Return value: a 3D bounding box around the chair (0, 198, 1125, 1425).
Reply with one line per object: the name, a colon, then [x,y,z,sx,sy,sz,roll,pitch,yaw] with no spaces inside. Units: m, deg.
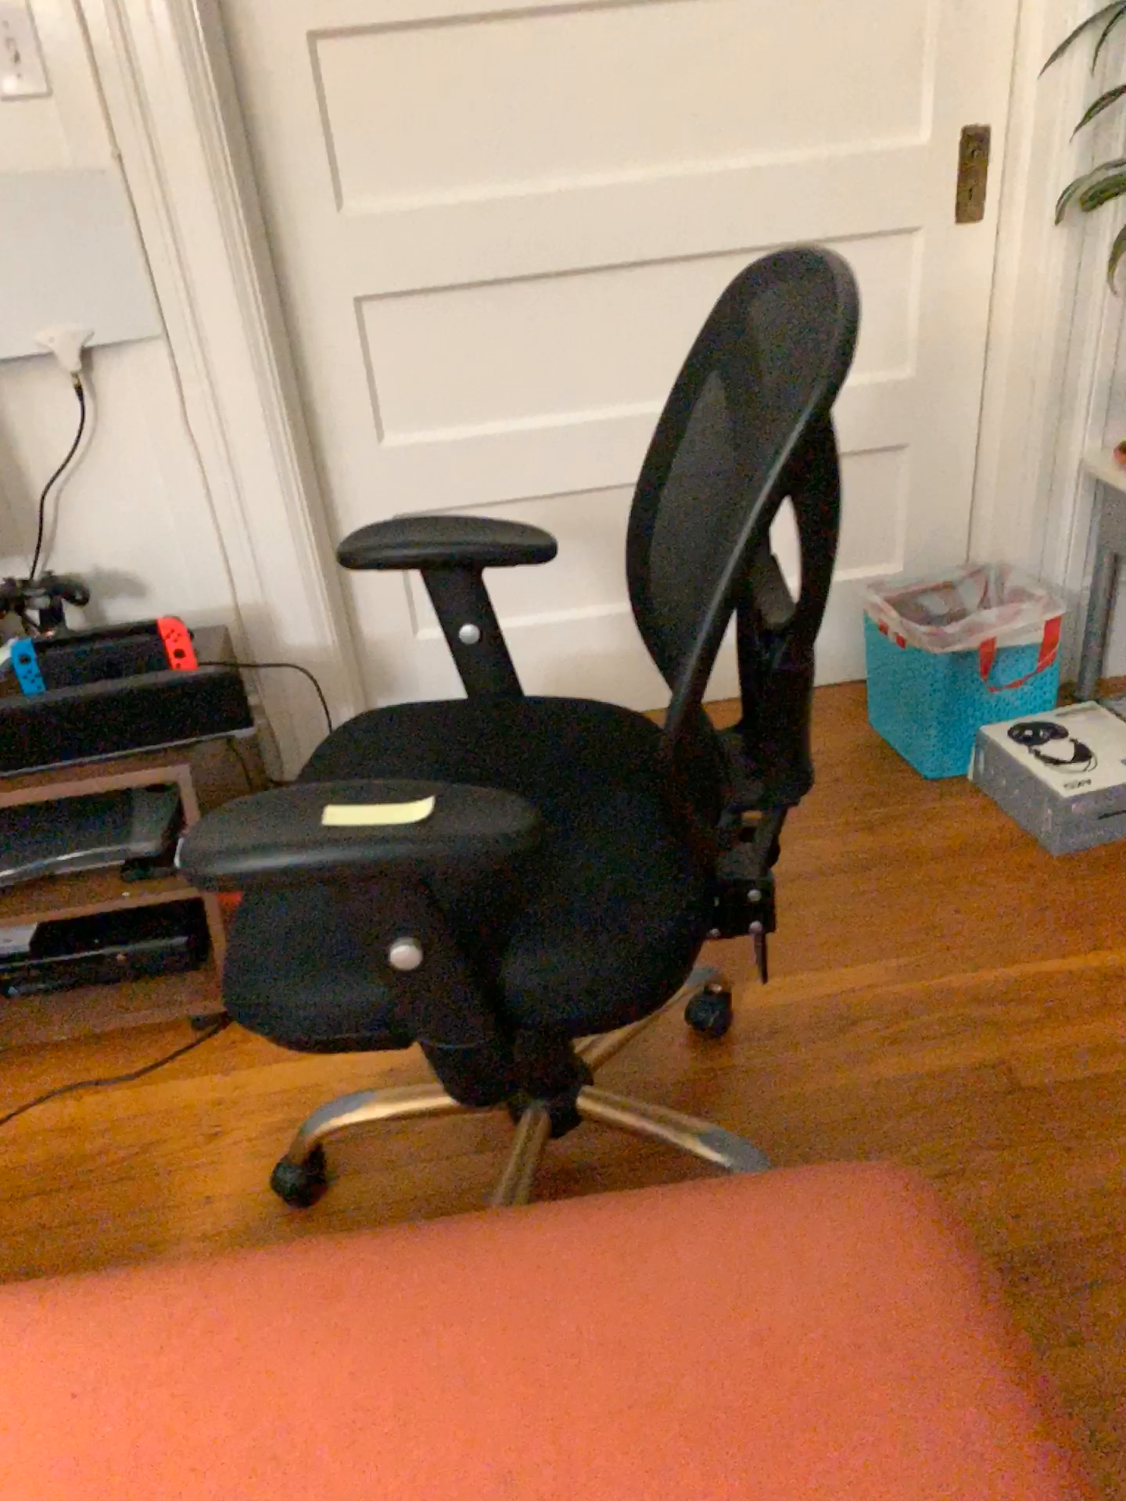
chair: [-0.003,0.038,1.114,0.660,0.974,0.644,1,31,4]
